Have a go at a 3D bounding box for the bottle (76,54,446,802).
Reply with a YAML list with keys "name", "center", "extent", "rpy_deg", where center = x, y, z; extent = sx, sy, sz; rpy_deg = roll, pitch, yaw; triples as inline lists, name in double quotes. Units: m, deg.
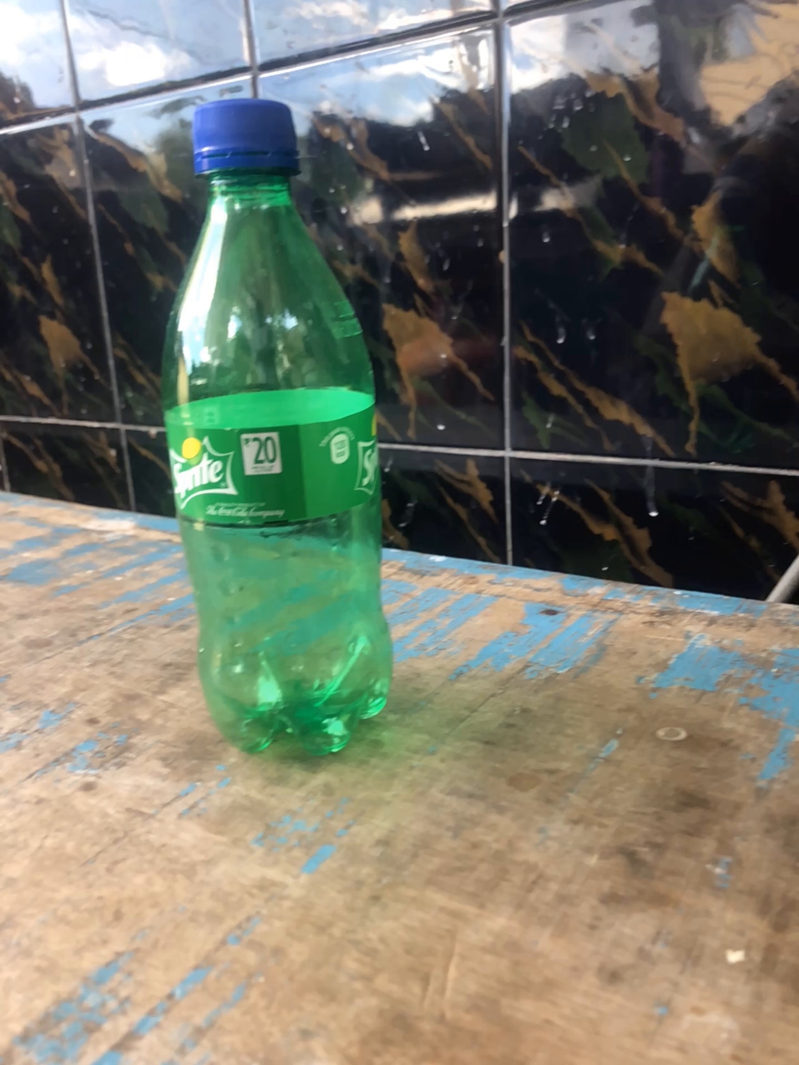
- name: "bottle"
  center: [-0.031, -0.024, 0.225]
  extent: [0.060, 0.159, 0.050]
  rpy_deg: [10, 21, 40]
